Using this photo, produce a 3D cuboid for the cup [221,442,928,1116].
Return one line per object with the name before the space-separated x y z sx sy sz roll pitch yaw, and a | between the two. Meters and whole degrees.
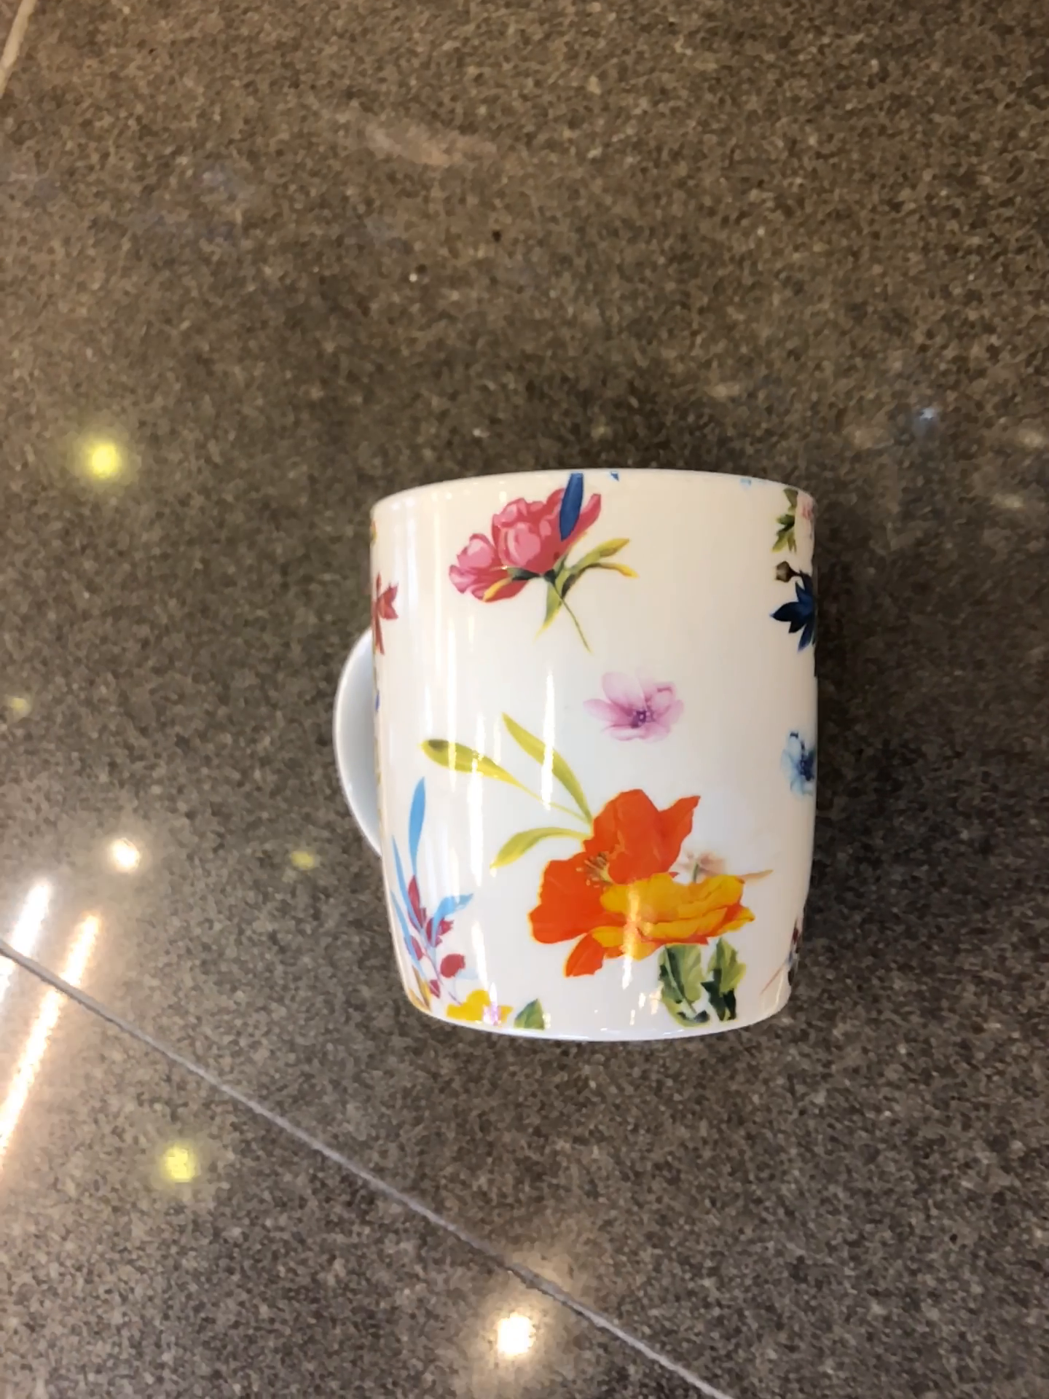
cup | 0.002 0.013 0.230 0.120 0.080 0.090 -4 86 55
